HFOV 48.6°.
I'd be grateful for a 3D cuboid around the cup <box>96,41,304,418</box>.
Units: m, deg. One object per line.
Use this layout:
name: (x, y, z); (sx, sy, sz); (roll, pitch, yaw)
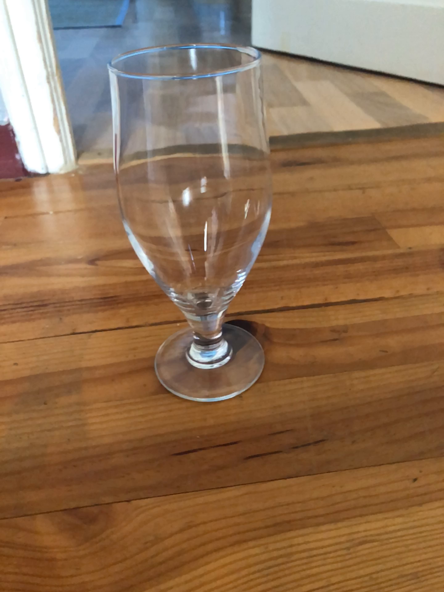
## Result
cup: (-0.014, -0.032, 0.276); (0.081, 0.183, 0.083); (-1, 35, 0)
